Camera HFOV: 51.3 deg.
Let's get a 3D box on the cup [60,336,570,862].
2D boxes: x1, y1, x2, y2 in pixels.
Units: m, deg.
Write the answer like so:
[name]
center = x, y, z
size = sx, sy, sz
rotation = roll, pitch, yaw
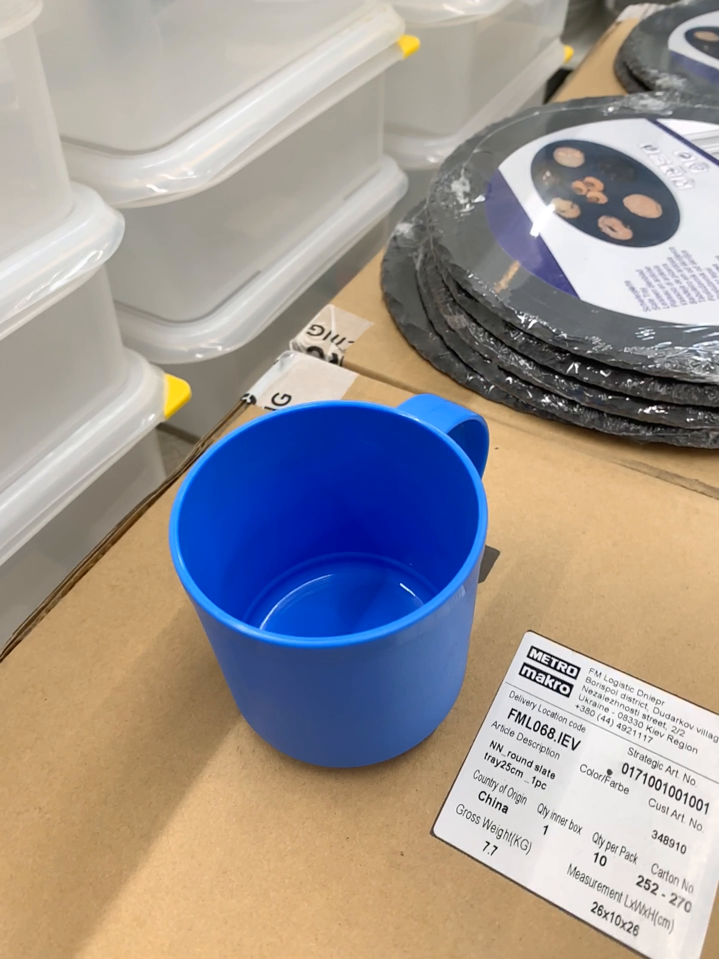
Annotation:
[cup]
center = -0.006, 0.028, 0.225
size = 0.089, 0.071, 0.110
rotation = 25, 54, 25
